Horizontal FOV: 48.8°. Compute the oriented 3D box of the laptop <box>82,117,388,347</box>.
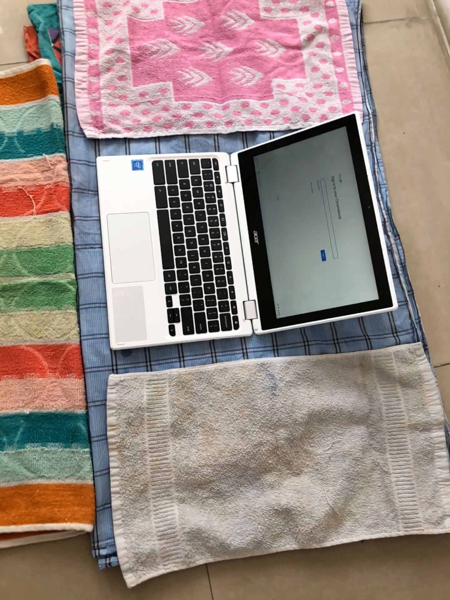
[{"bbox_3d":[0.010,-0.099,0.692,0.367,0.101,0.285,-5,78,-10],"label":"laptop"}]
